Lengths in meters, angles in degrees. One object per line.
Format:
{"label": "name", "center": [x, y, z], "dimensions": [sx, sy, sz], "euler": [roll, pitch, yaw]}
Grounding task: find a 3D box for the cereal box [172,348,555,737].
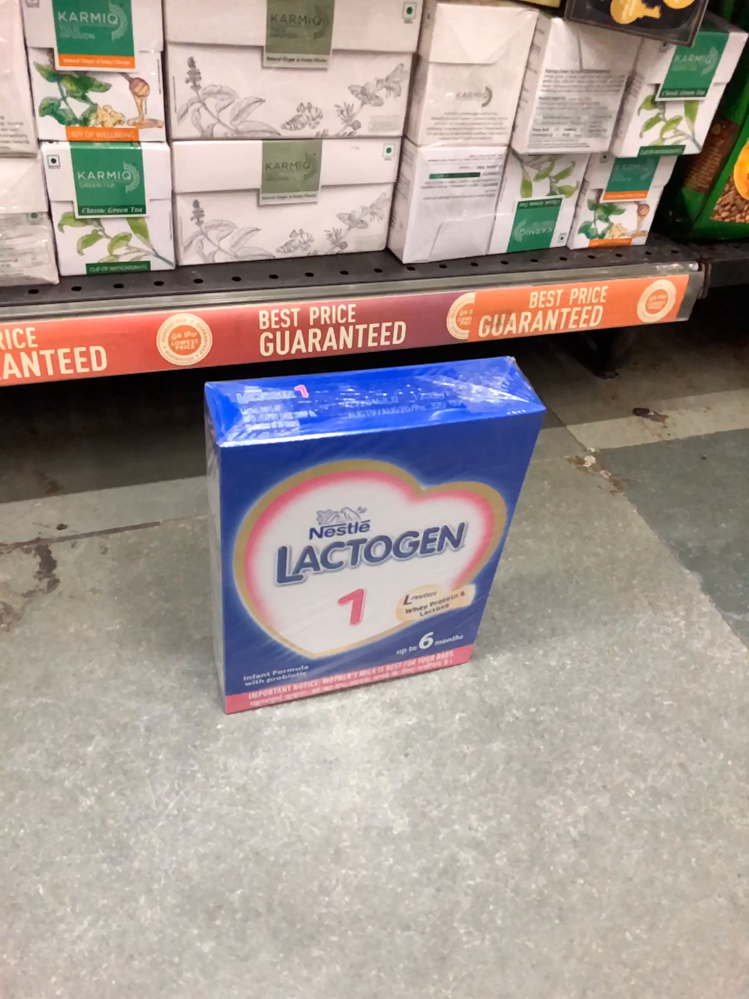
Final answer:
{"label": "cereal box", "center": [-0.014, 0.027, 0.424], "dimensions": [0.160, 0.199, 0.050], "euler": [-8, 43, -18]}
